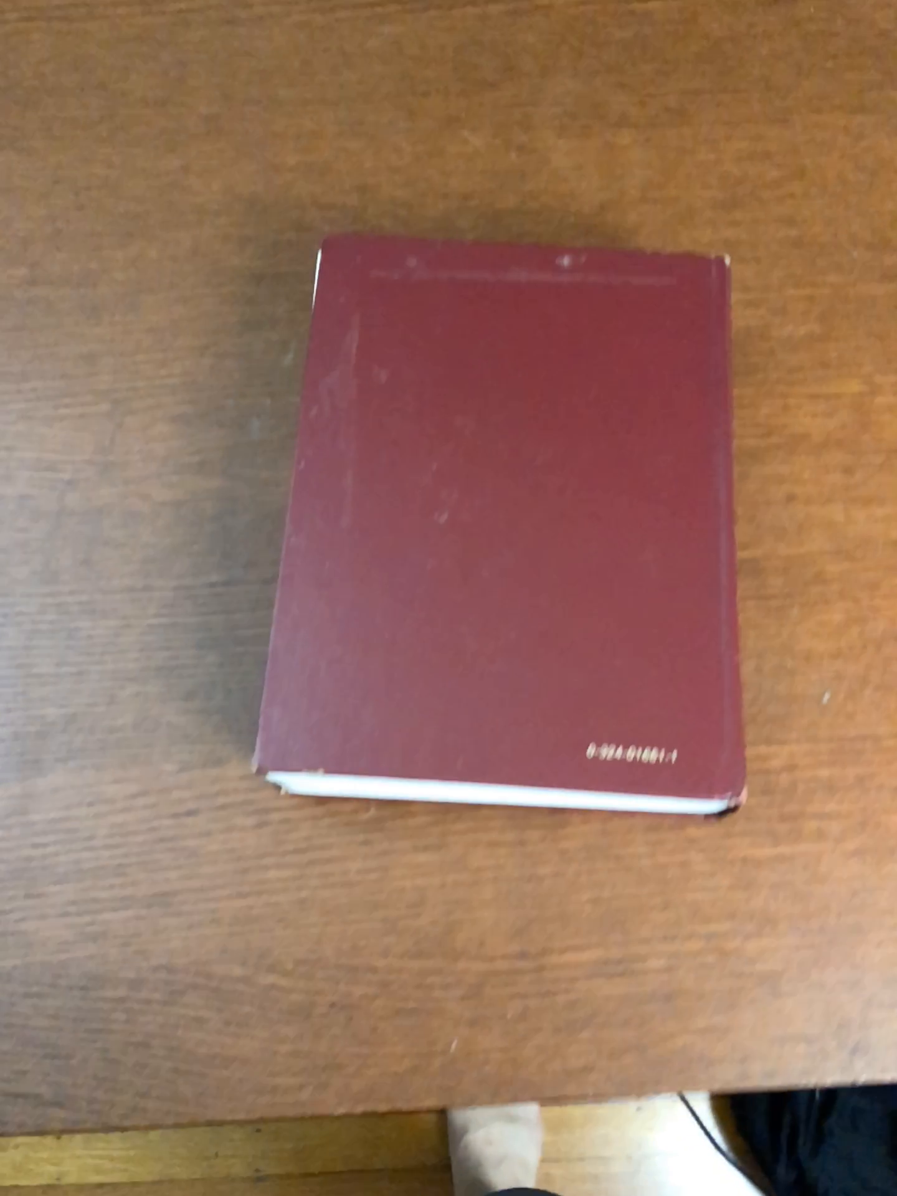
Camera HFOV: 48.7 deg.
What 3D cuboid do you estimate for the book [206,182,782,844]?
[{"bbox_3d":[0.026,-0.045,0.460,0.220,0.070,0.291,4,70,1],"label":"book"}]
